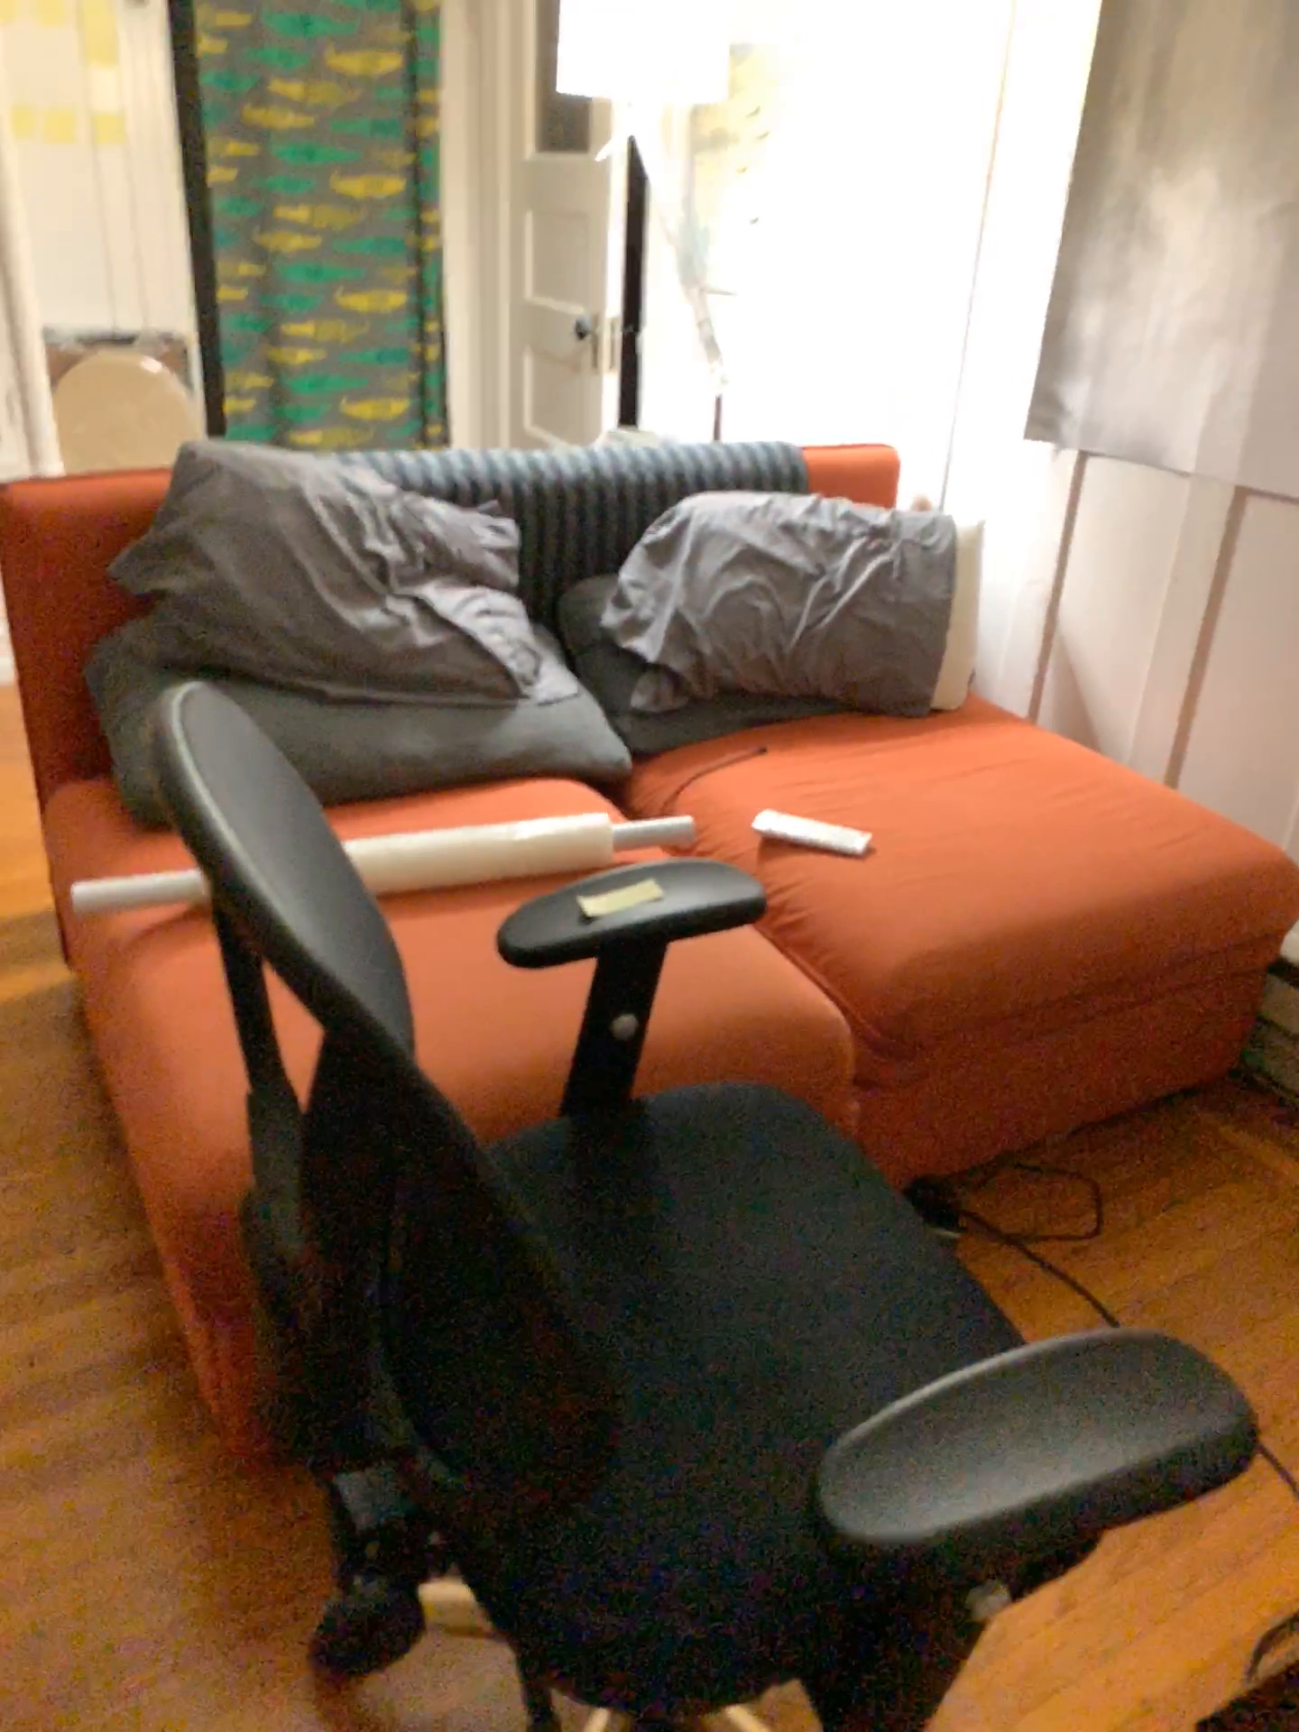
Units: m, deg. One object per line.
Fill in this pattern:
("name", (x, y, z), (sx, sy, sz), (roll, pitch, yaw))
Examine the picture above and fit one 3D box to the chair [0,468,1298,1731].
("chair", (-0.028, 0.297, 0.976), (0.660, 0.974, 0.643), (-11, 30, -17))
